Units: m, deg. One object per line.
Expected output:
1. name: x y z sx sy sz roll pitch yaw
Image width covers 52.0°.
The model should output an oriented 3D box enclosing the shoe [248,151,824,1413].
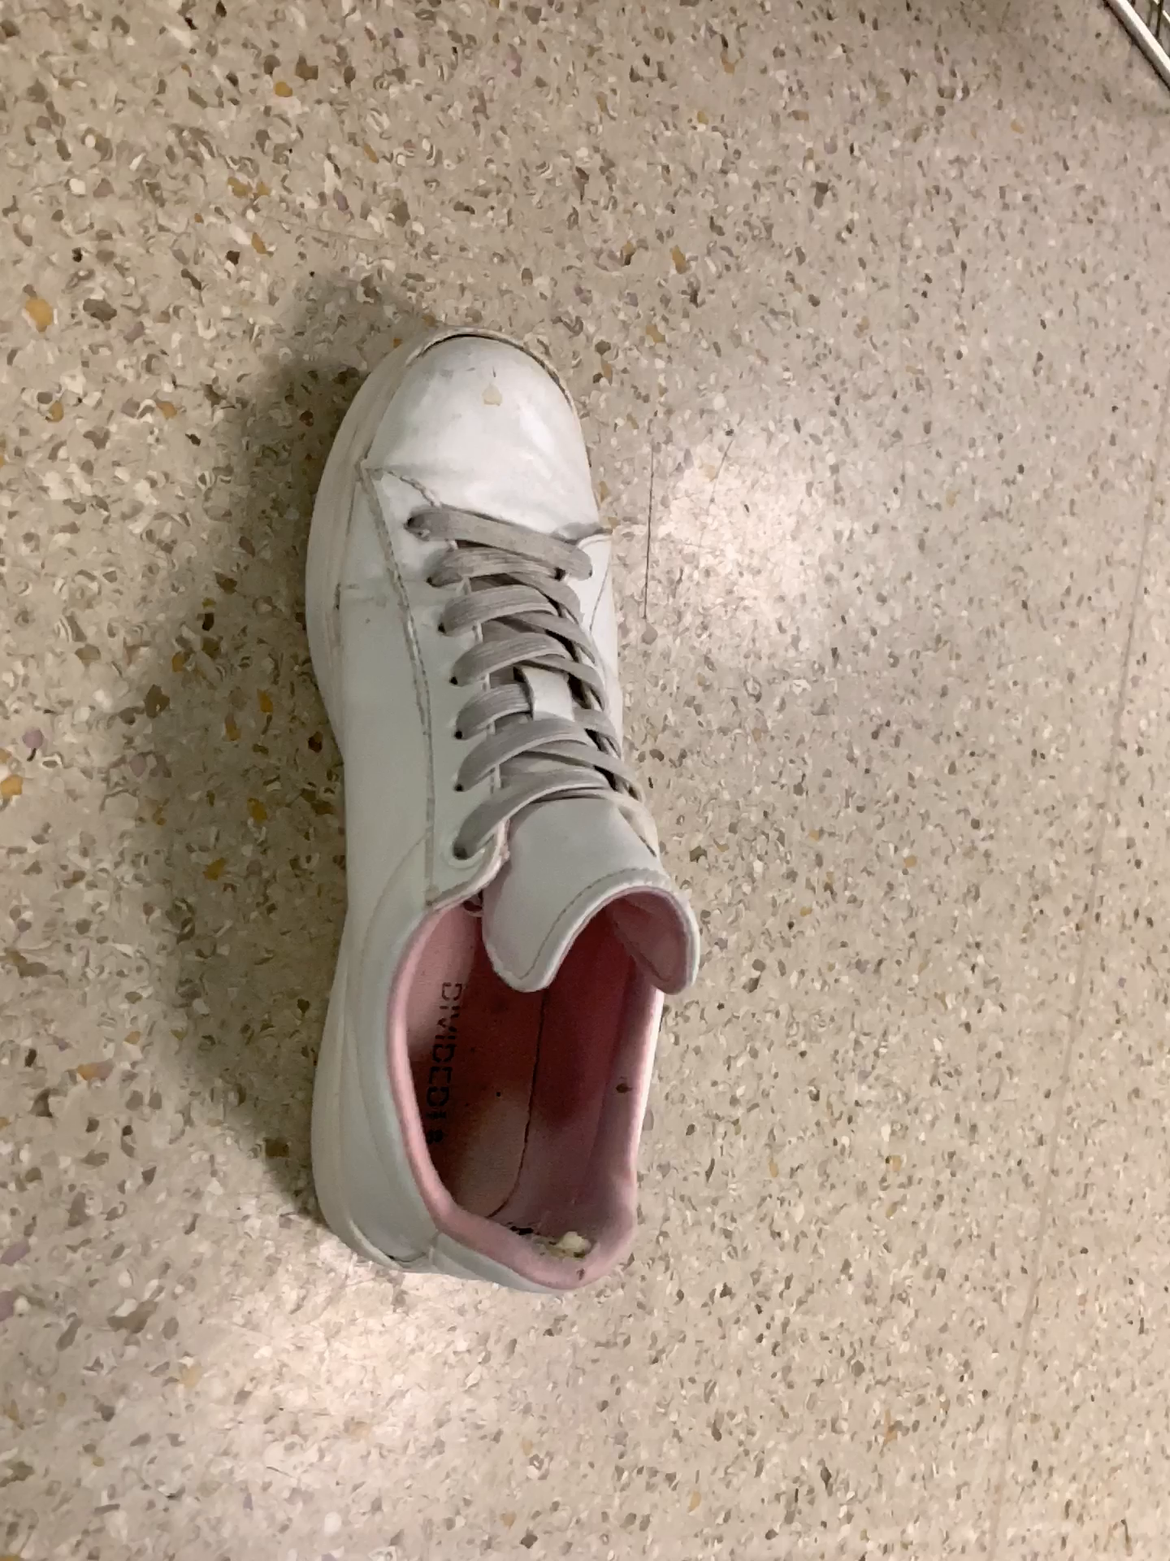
1. shoe: -0.012 0.000 0.308 0.099 0.092 0.255 6 85 -38
